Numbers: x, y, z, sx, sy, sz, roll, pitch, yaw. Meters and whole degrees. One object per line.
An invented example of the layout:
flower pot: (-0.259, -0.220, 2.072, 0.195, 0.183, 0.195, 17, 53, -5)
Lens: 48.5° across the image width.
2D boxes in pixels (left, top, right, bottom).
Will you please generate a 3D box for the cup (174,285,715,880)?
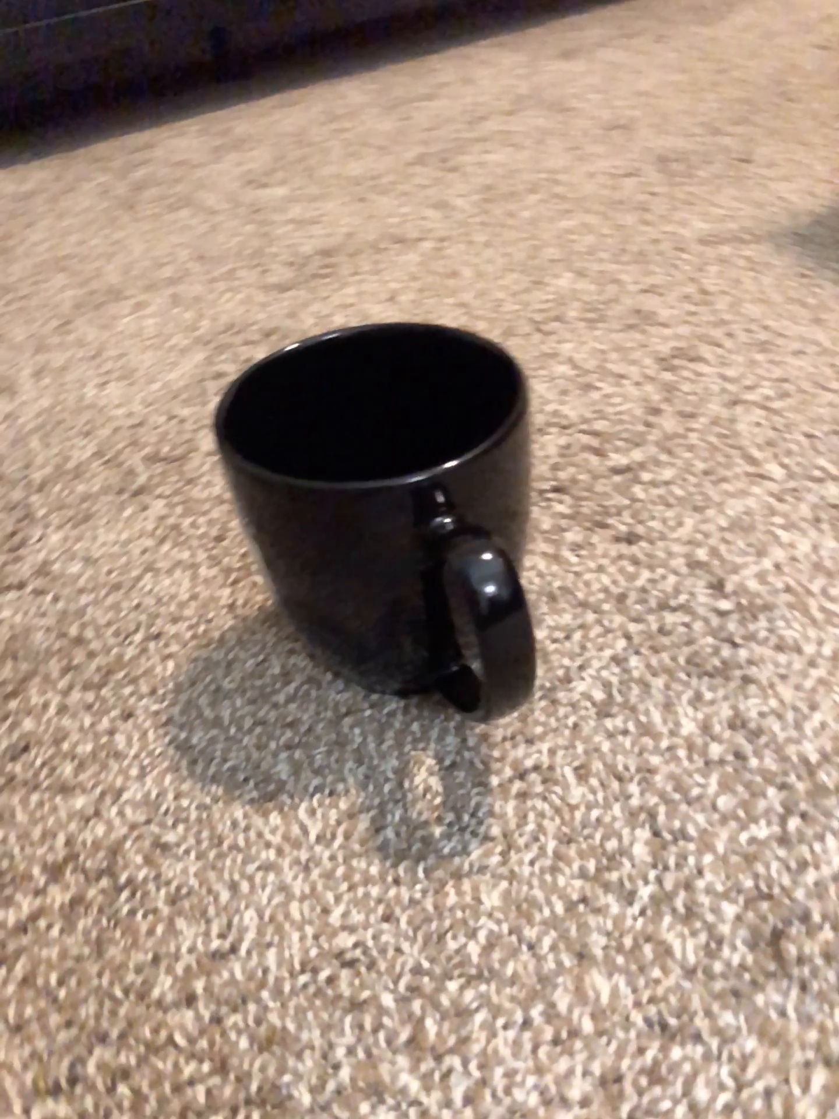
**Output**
cup: (0.002, -0.006, 0.274, 0.090, 0.090, 0.141, -23, 38, -16)
